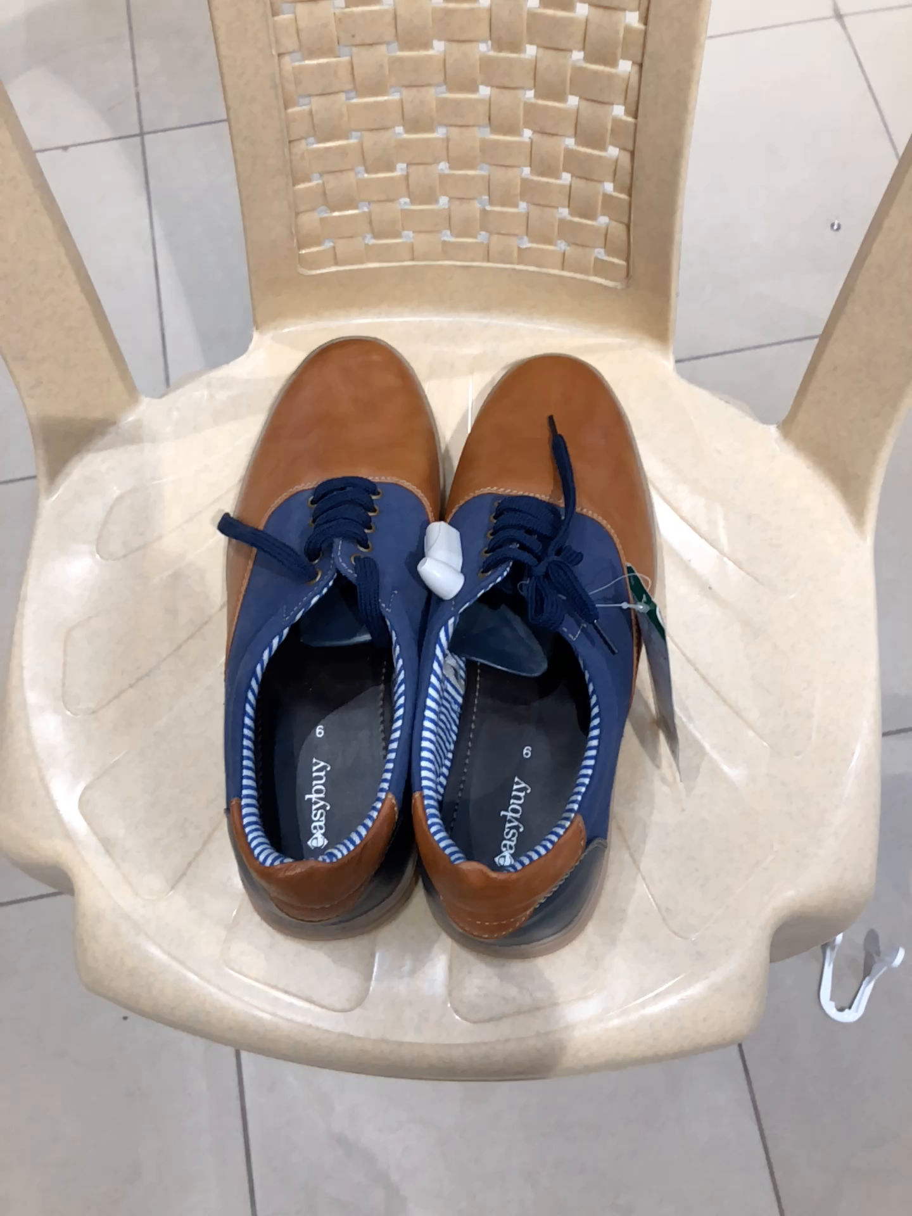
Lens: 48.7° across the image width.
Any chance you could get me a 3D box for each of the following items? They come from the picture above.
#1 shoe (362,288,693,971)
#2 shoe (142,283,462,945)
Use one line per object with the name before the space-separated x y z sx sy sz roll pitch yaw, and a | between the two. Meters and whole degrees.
shoe | 0.034 0.012 0.422 0.103 0.120 0.252 4 72 4
shoe | -0.056 0.007 0.428 0.103 0.113 0.254 -3 72 1
